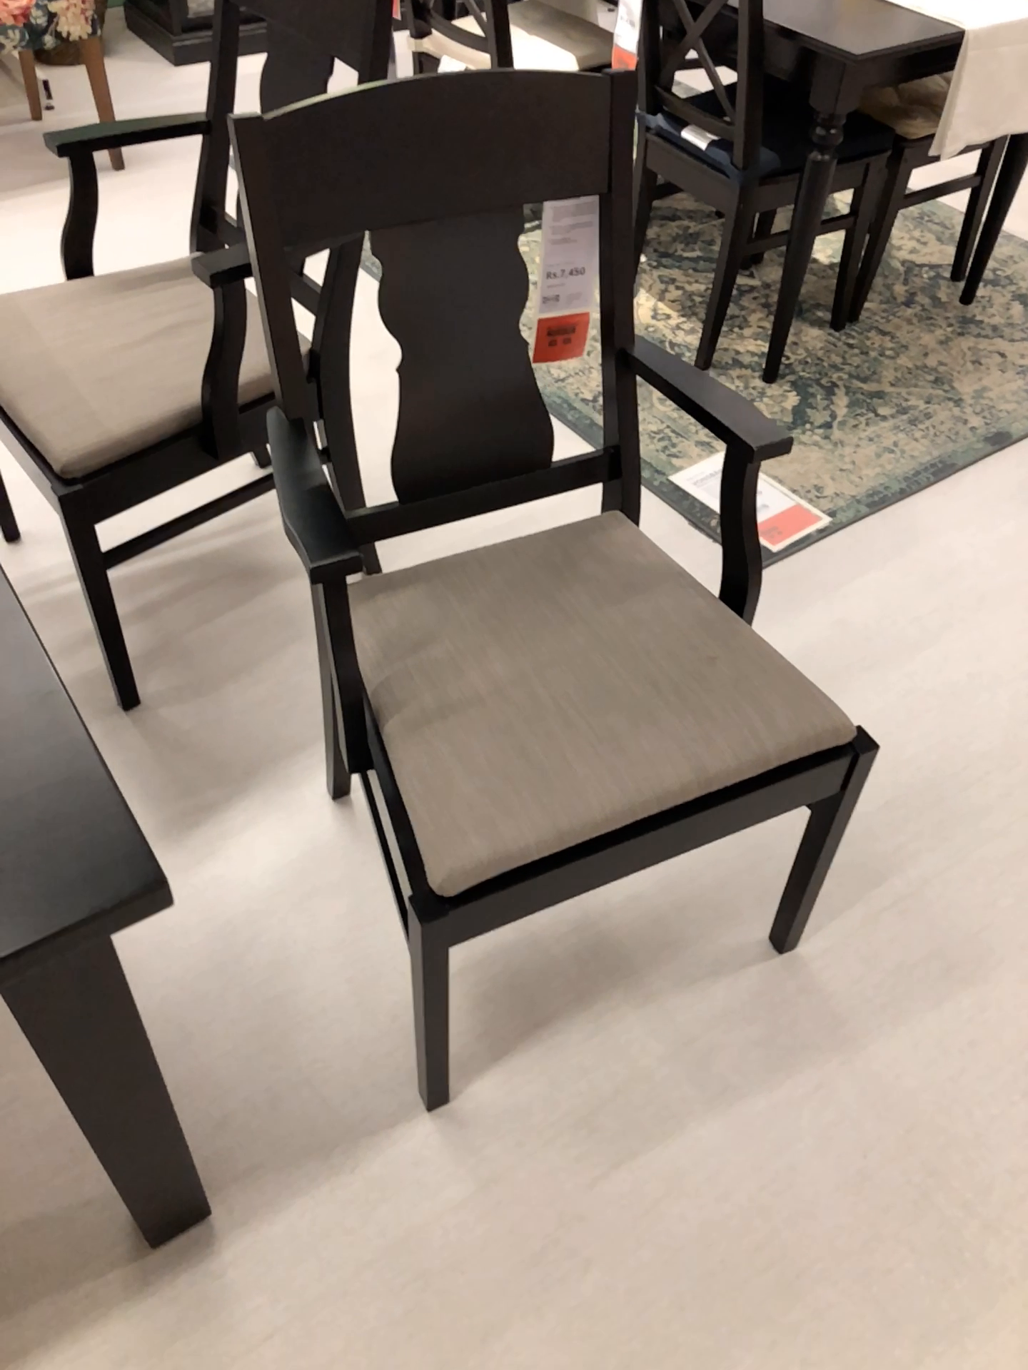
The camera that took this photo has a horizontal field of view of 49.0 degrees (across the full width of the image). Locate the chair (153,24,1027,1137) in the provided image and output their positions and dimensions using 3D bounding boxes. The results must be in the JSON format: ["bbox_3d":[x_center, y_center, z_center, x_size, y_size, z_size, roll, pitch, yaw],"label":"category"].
[{"bbox_3d":[0.045,-0.074,1.266,0.571,0.994,0.573,-18,50,-20],"label":"chair"}]
